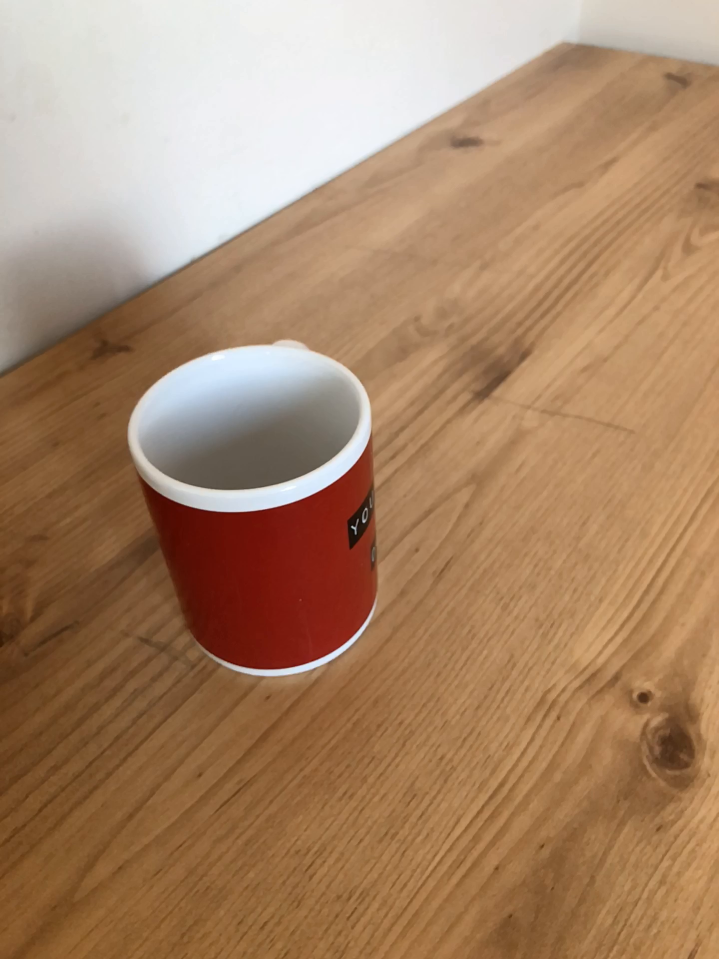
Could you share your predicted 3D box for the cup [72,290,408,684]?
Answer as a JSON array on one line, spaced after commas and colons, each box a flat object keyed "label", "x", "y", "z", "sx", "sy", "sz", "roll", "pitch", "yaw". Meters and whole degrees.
[{"label": "cup", "x": -0.031, "y": -0.002, "z": 0.308, "sx": 0.091, "sy": 0.086, "sz": 0.124, "roll": 1, "pitch": 43, "yaw": 7}]
